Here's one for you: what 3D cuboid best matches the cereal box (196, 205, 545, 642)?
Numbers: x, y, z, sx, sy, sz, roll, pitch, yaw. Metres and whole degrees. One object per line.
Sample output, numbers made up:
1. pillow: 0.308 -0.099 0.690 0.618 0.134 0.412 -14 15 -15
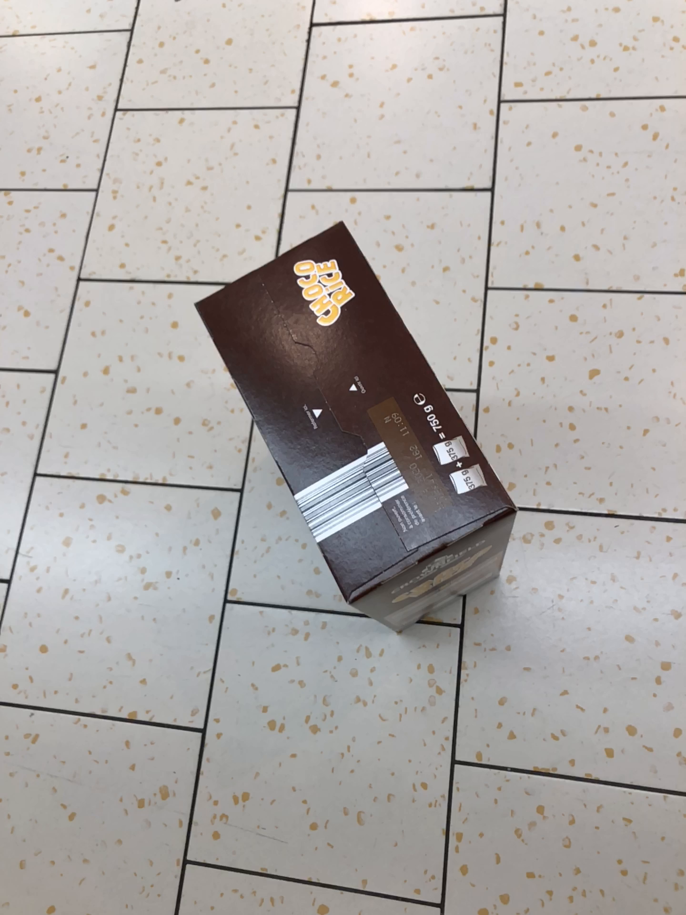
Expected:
1. cereal box: 0.029 0.004 0.517 0.100 0.270 0.200 -28 71 1
